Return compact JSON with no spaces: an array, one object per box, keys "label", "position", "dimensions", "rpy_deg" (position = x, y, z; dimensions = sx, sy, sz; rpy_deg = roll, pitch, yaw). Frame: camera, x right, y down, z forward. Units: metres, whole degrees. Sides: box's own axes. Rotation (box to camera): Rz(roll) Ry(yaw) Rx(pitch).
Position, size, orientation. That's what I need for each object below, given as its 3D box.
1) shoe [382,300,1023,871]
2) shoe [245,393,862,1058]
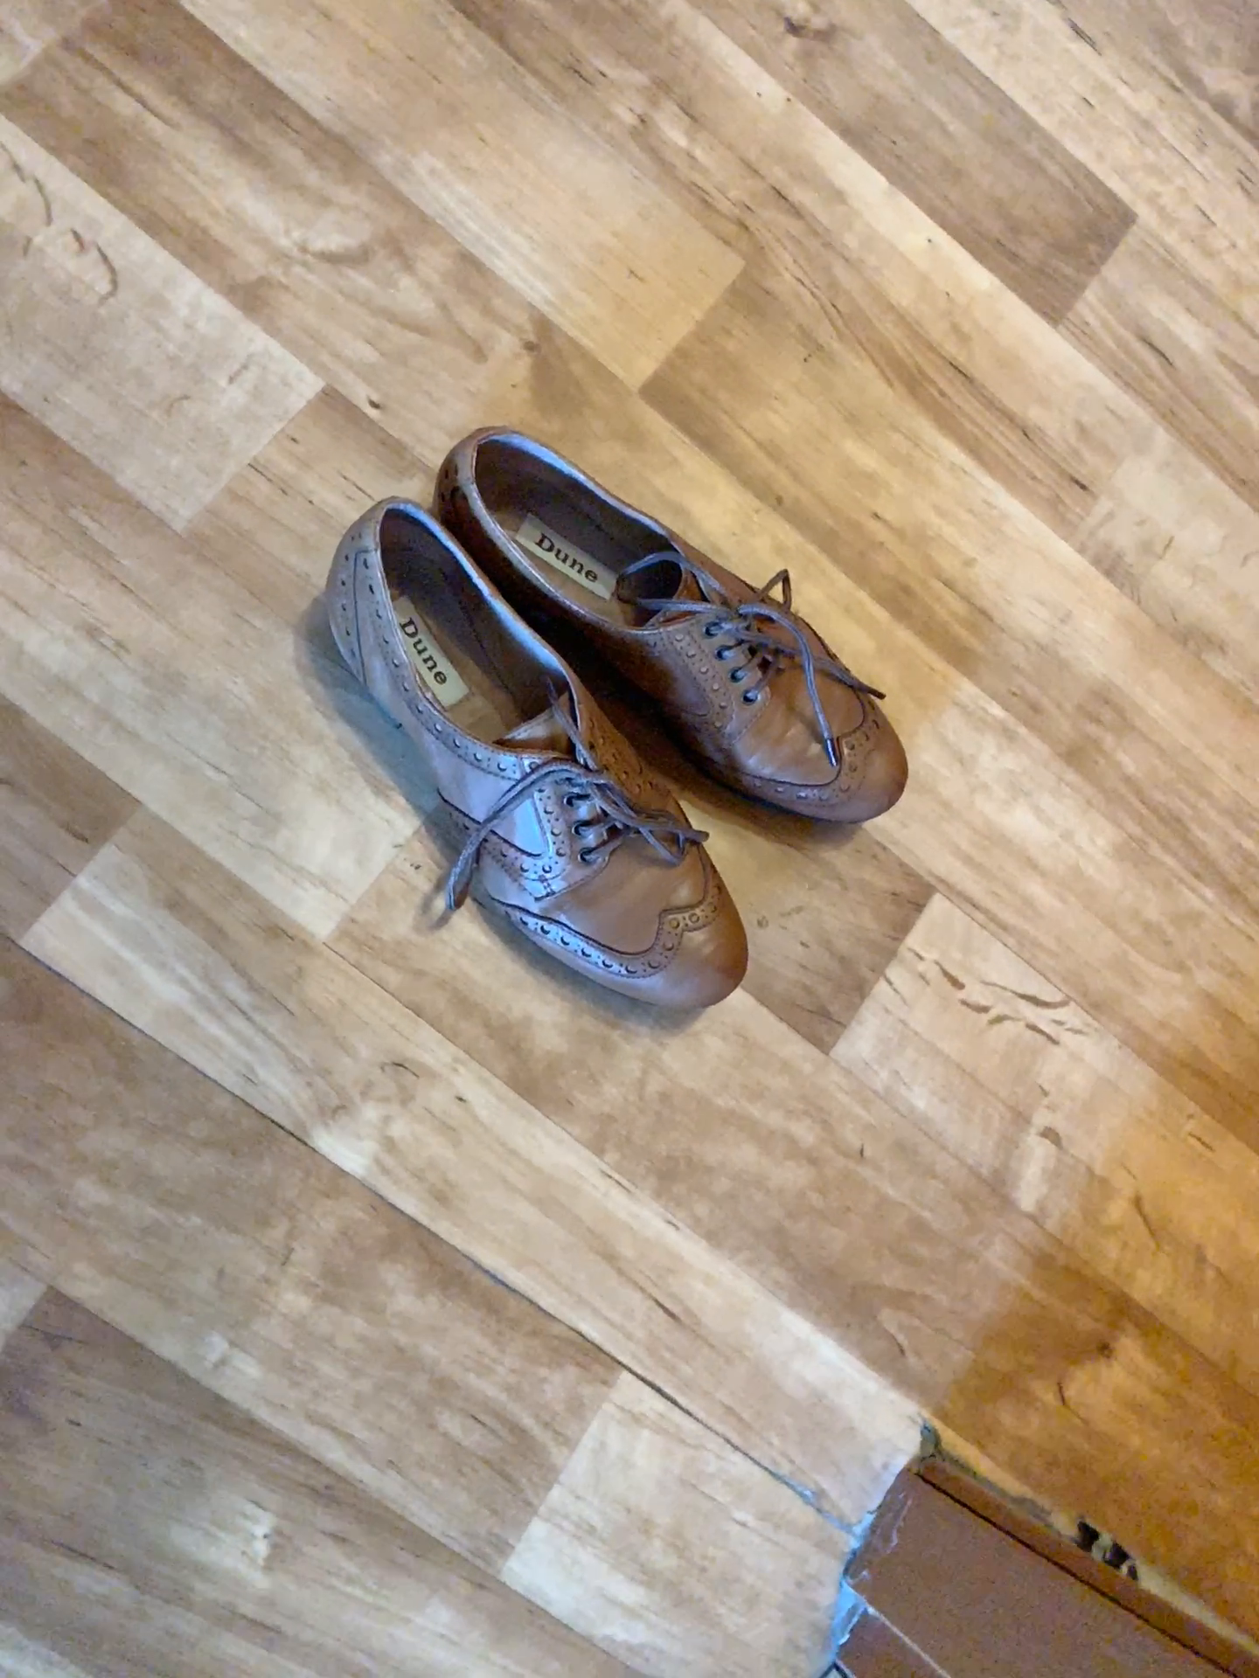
[{"label":"shoe","position":[0.023,-0.091,0.531],"dimensions":[0.230,0.120,0.080],"rpy_deg":[33,73,-7]},{"label":"shoe","position":[-0.038,-0.034,0.520],"dimensions":[0.090,0.120,0.240],"rpy_deg":[-41,92,-18]}]
